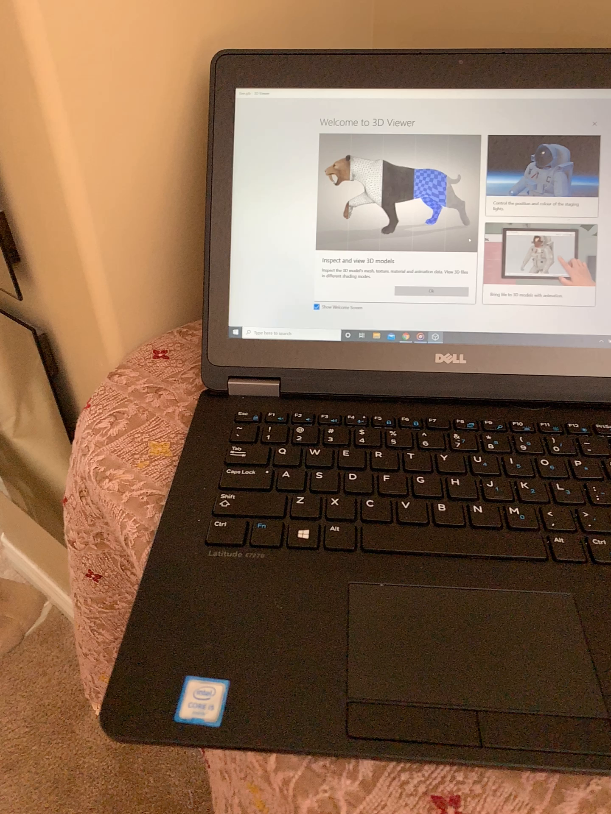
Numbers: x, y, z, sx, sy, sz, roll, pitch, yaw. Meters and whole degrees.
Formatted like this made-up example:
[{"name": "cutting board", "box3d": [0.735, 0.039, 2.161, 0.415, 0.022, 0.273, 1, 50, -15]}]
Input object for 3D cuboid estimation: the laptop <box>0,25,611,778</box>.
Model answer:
[{"name": "laptop", "box3d": [0.101, -0.063, 0.371, 0.366, 0.186, 0.424, 1, 42, 4]}]
